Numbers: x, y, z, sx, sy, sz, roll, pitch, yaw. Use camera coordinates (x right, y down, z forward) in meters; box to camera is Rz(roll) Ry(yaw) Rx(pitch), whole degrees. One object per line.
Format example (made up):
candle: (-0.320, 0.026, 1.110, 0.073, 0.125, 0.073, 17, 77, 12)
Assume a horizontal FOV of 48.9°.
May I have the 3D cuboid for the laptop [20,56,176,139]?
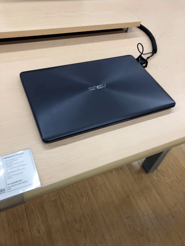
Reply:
laptop: (0.013, -0.093, 0.536, 0.346, 0.002, 0.229, -15, 54, -20)
